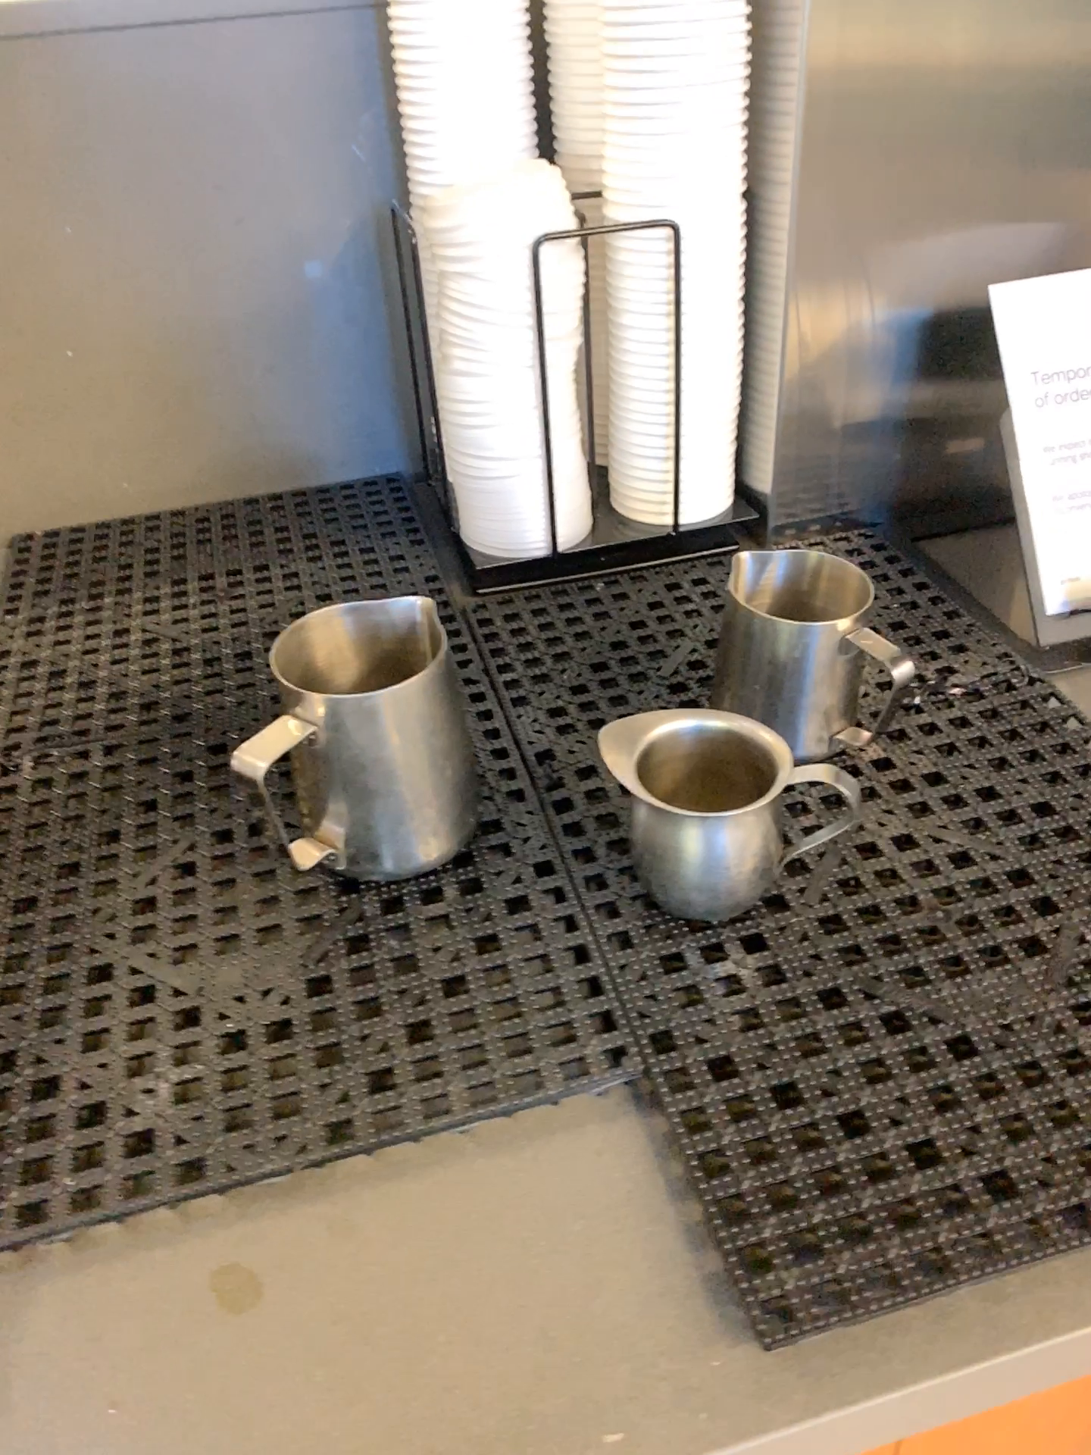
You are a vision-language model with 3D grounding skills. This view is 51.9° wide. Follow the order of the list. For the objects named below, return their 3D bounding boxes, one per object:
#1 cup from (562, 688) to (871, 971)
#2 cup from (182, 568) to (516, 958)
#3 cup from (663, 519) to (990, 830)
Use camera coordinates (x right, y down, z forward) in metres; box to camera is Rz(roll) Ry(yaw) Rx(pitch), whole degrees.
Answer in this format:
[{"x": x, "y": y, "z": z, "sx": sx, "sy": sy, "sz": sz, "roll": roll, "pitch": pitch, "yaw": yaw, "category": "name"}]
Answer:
[{"x": 0.072, "y": 0.040, "z": 0.471, "sx": 0.110, "sy": 0.070, "sz": 0.070, "roll": 10, "pitch": 39, "yaw": 18, "category": "cup"}, {"x": -0.079, "y": 0.012, "z": 0.499, "sx": 0.070, "sy": 0.109, "sz": 0.120, "roll": 19, "pitch": 42, "yaw": 27, "category": "cup"}, {"x": 0.130, "y": -0.031, "z": 0.549, "sx": 0.080, "sy": 0.079, "sz": 0.131, "roll": -24, "pitch": 41, "yaw": -25, "category": "cup"}]
